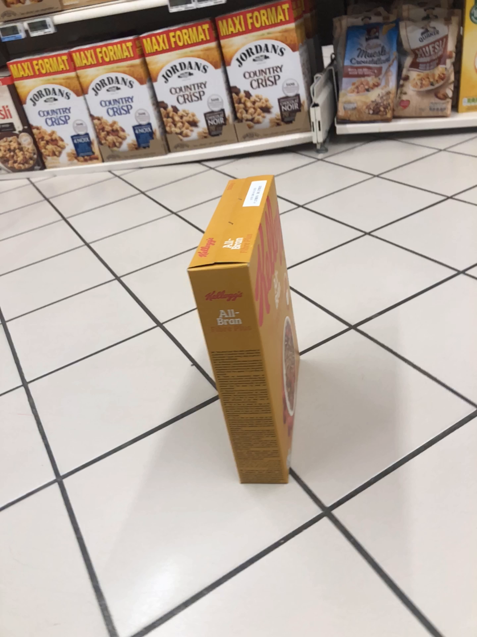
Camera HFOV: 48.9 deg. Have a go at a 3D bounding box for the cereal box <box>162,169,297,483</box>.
[{"bbox_3d":[0.008,0.005,0.518,0.060,0.239,0.191,-3,34,13],"label":"cereal box"}]
